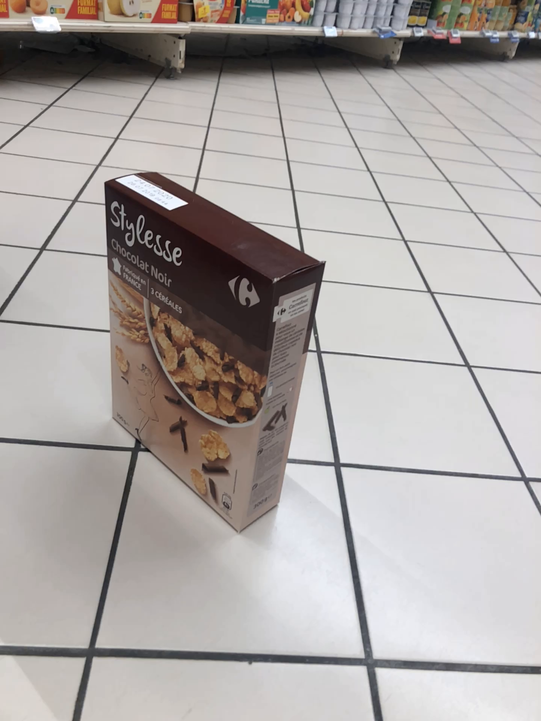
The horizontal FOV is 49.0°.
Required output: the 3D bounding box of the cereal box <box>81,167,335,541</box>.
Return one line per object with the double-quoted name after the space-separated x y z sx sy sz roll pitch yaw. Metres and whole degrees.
-0.067 -0.007 0.498 0.200 0.238 0.070 34 42 31 "cereal box"
